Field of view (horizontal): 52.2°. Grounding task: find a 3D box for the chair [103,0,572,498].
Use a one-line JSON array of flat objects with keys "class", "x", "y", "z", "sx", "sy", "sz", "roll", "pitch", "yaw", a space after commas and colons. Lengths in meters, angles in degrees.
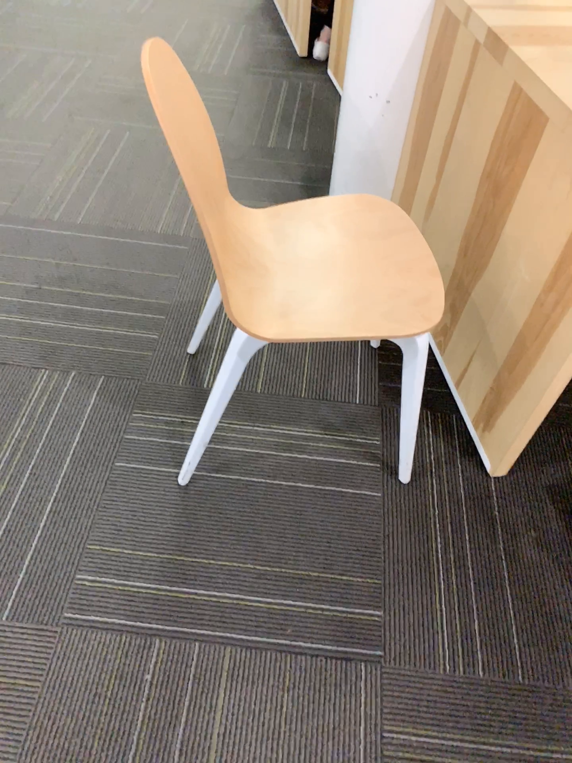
[{"class": "chair", "x": 0.028, "y": -0.211, "z": 1.132, "sx": 0.550, "sy": 0.816, "sz": 0.503, "roll": -2, "pitch": 51, "yaw": -6}]
